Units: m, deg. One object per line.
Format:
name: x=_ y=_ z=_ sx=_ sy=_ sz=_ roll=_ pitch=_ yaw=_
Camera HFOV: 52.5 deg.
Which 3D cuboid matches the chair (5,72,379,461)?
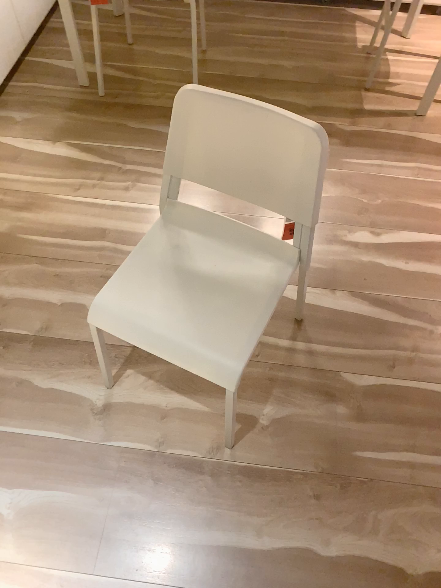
chair: x=-0.028 y=-0.026 z=1.154 sx=0.520 sy=0.708 sz=0.551 roll=22 pitch=59 yaw=12
